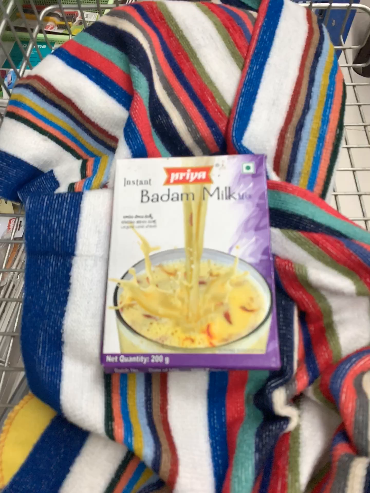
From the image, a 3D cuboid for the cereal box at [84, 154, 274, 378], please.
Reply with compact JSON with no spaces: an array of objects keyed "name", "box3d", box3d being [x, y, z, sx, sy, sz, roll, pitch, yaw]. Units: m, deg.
[{"name":"cereal box","box3d":[-0.003,0.011,0.275,0.120,0.030,0.160,0,72,2]}]
